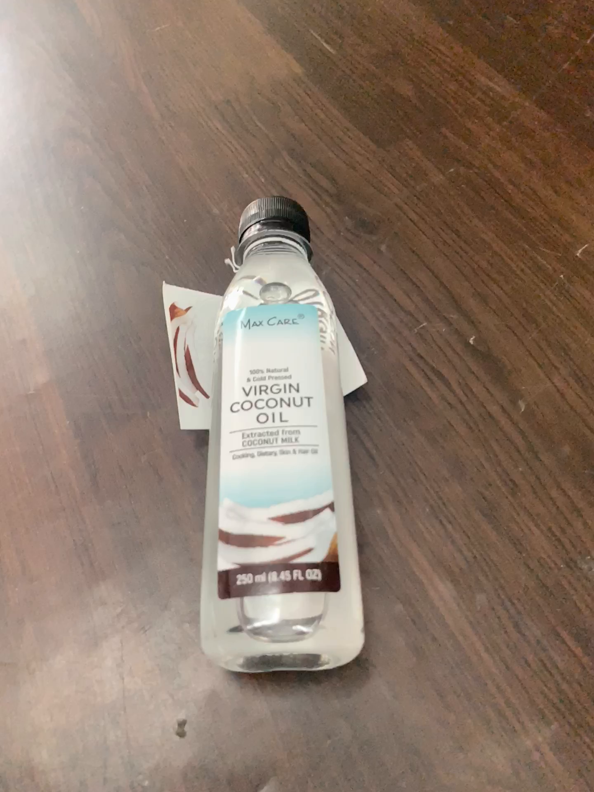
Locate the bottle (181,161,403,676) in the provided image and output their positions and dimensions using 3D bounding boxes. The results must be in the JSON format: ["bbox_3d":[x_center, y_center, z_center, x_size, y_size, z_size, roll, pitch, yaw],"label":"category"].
[{"bbox_3d":[-0.003,-0.003,0.206,0.050,0.050,0.170,-2,56,0],"label":"bottle"}]
